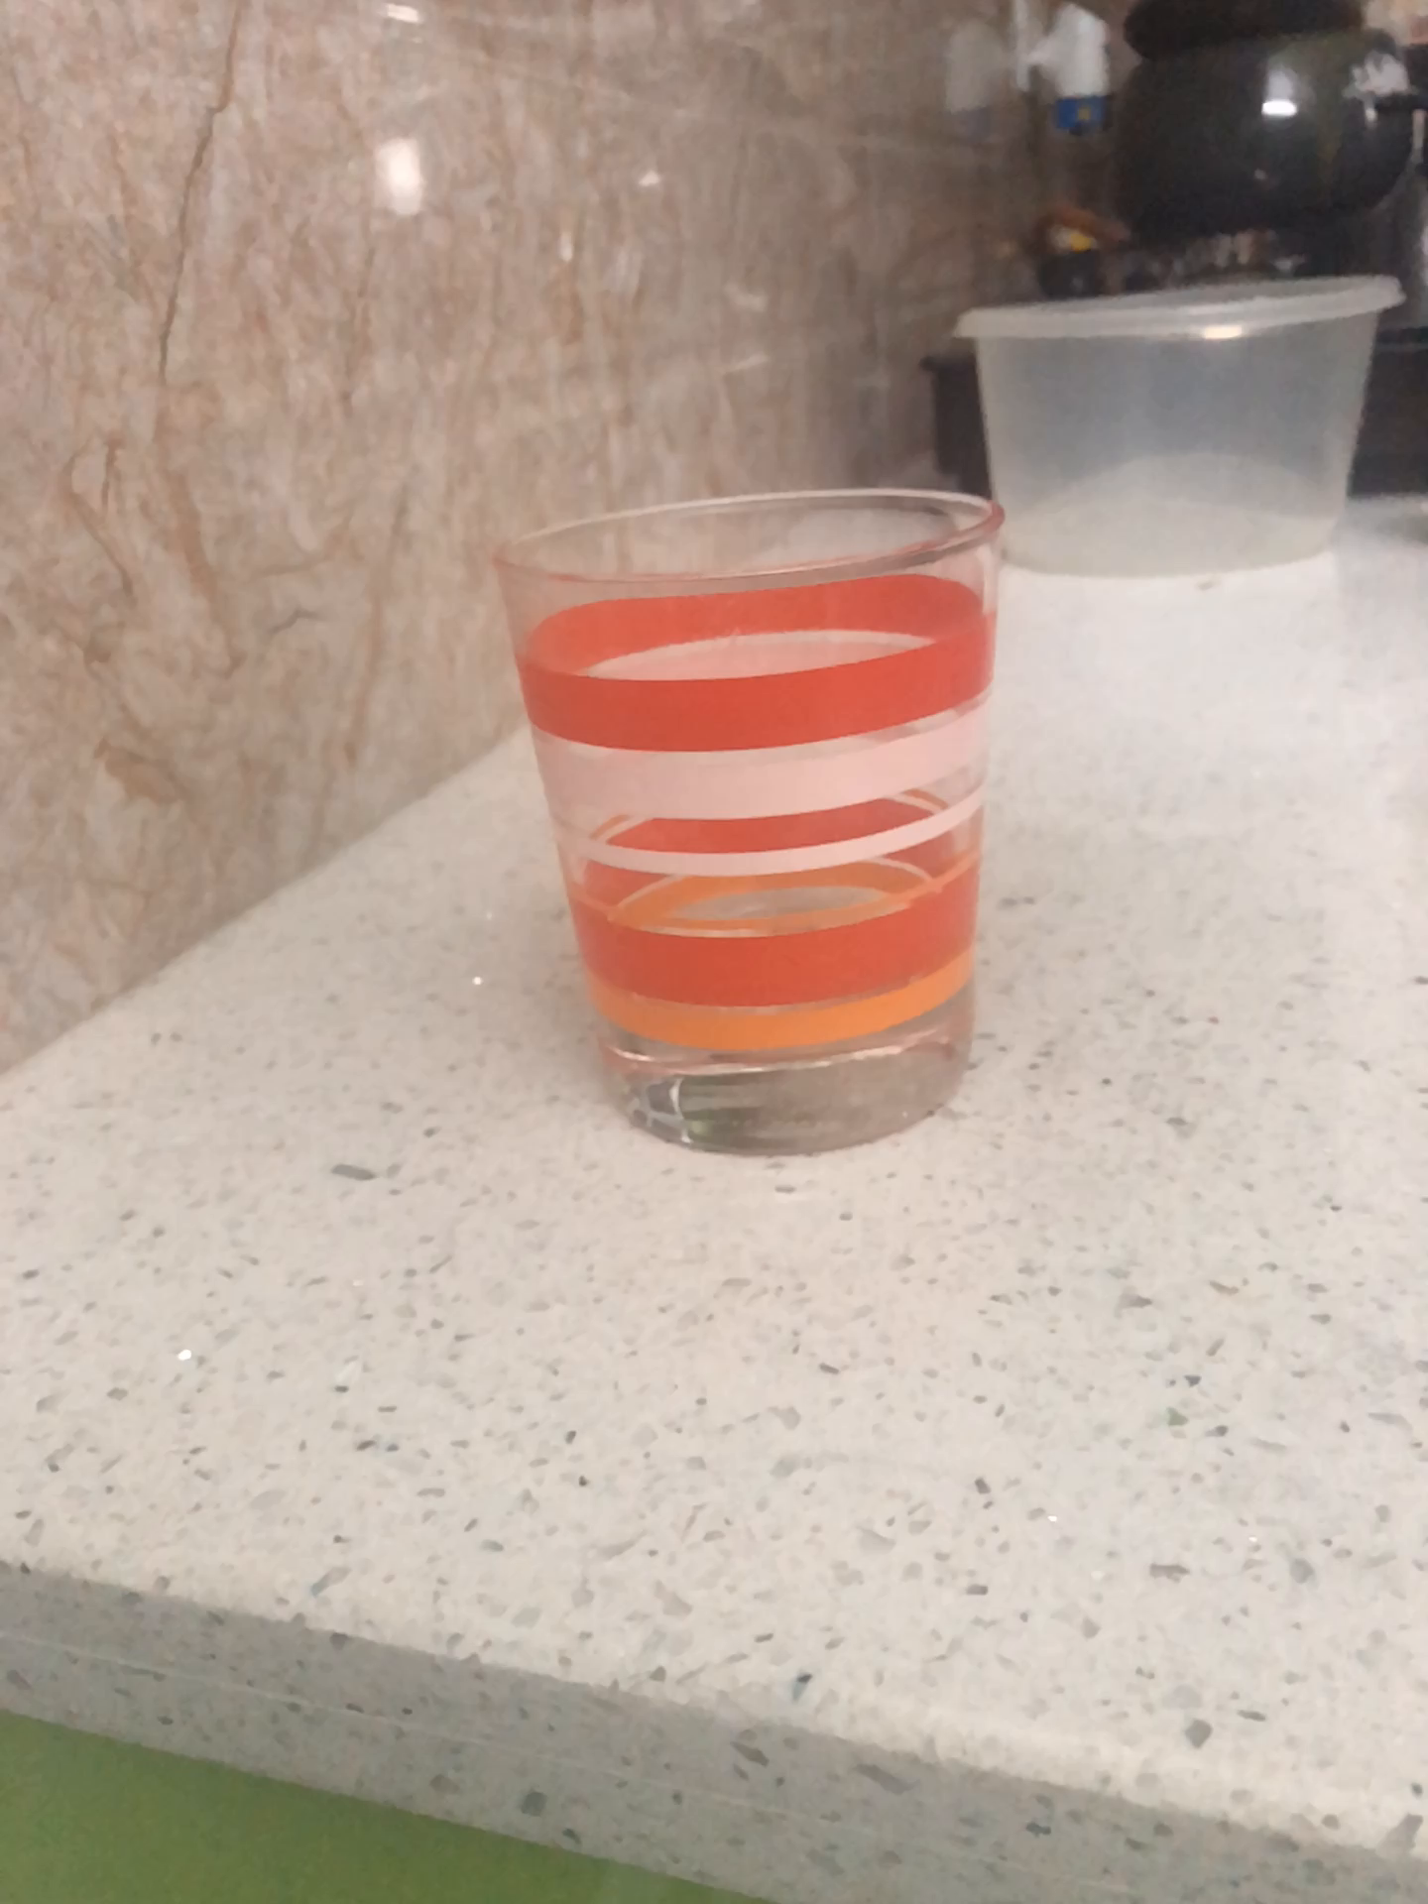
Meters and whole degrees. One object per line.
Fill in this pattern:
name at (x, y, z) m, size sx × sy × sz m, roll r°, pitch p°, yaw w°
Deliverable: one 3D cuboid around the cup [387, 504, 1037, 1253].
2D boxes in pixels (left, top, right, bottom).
cup at (0.009, -0.016, 0.256) m, size 0.080 × 0.090 × 0.090 m, roll -1°, pitch 22°, yaw 11°
